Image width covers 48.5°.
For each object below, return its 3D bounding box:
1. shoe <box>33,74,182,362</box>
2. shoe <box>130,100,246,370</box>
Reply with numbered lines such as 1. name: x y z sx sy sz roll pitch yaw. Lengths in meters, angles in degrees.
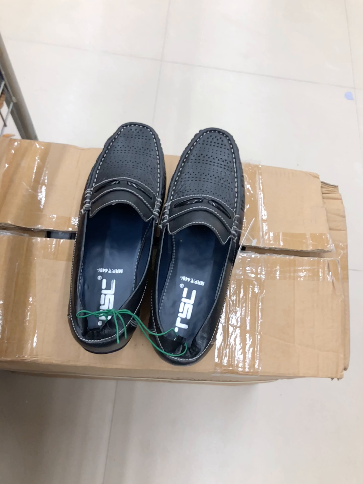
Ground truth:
1. shoe: -0.070 -0.033 0.462 0.100 0.090 0.311 8 68 -3
2. shoe: 0.012 -0.013 0.495 0.100 0.090 0.311 8 68 -3
